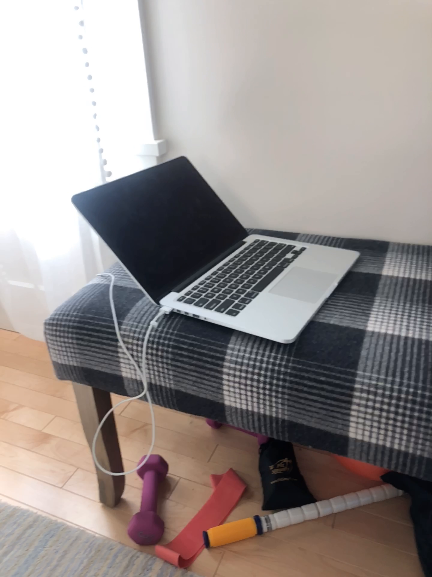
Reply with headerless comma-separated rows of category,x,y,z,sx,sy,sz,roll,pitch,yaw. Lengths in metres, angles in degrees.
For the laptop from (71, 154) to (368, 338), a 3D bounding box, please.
laptop,0.018,-0.103,0.773,0.366,0.142,0.308,13,32,29
